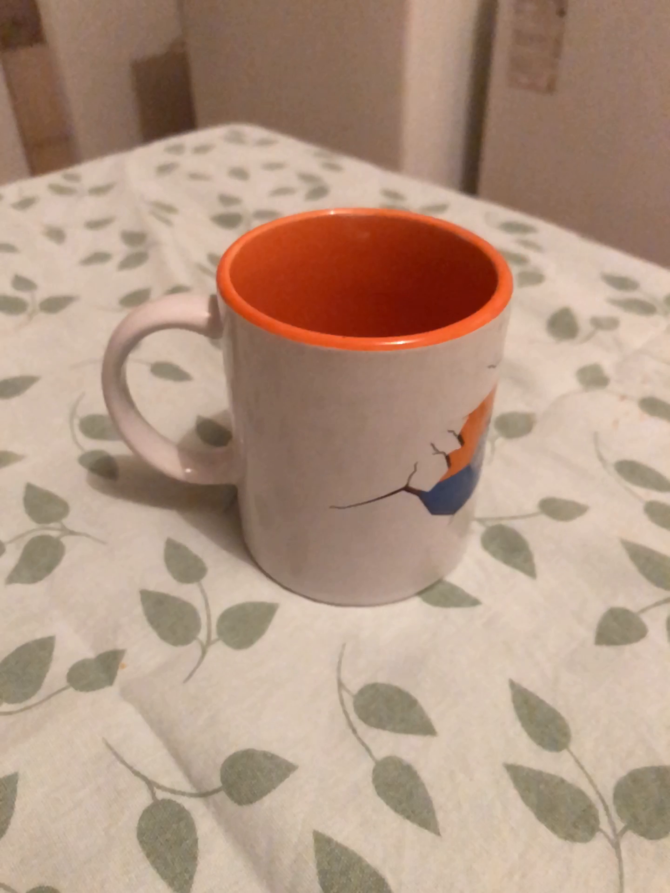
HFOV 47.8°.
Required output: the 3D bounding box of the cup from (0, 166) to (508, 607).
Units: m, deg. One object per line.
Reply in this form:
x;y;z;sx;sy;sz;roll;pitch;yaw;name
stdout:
-0.018;-0.019;0.230;0.120;0.099;0.081;3;40;4;cup
